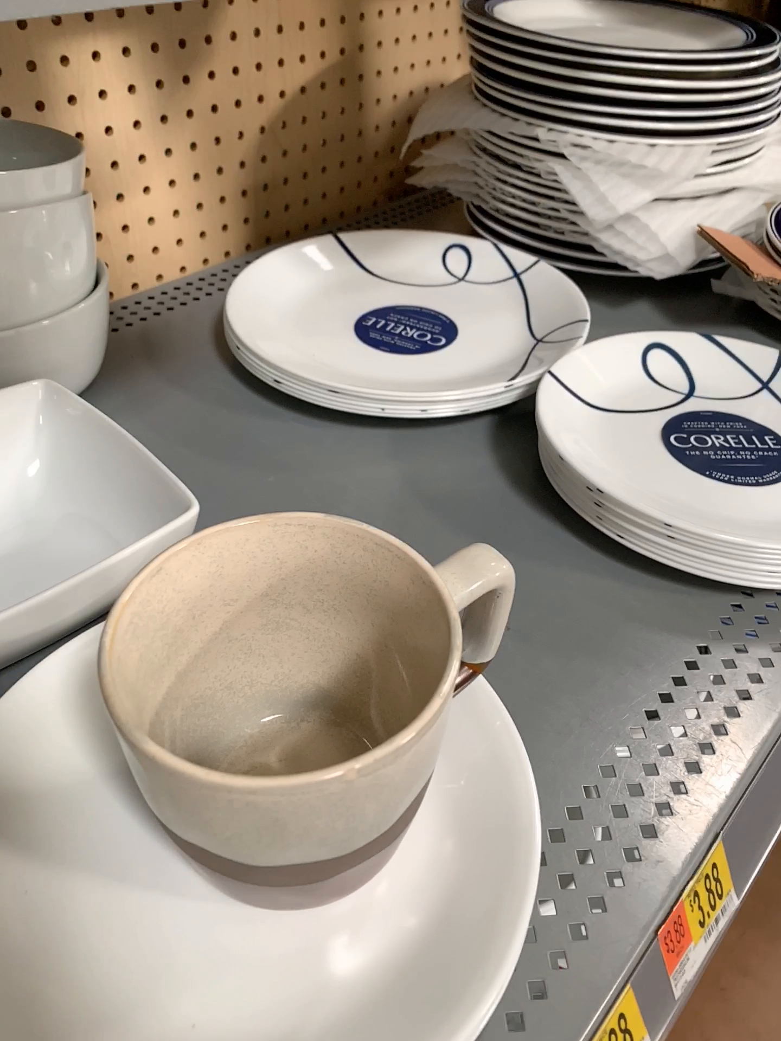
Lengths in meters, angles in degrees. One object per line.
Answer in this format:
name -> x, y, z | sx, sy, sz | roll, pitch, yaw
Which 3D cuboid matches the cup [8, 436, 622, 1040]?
cup -> -0.019, 0.062, 0.261 | 0.107, 0.096, 0.138 | 34, 50, 31
